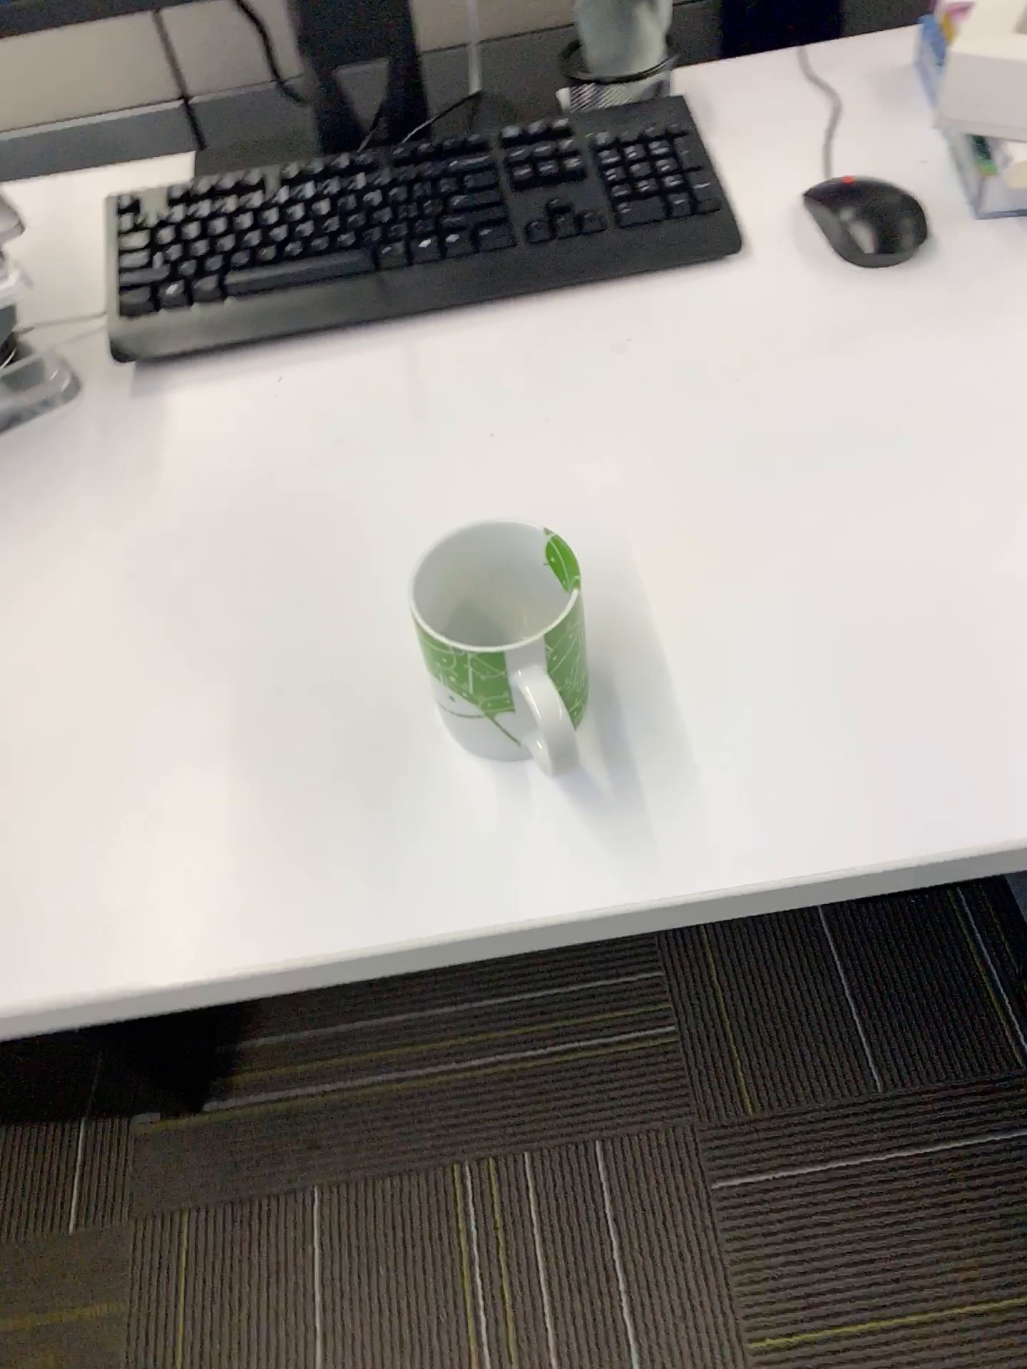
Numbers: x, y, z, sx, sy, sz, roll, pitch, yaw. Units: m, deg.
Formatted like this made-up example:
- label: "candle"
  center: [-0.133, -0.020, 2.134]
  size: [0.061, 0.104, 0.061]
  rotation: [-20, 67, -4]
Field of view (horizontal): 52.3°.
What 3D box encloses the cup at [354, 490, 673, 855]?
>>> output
- label: "cup"
  center: [0.001, -0.007, 0.482]
  size: [0.090, 0.080, 0.120]
  rotation: [-28, 56, -12]
